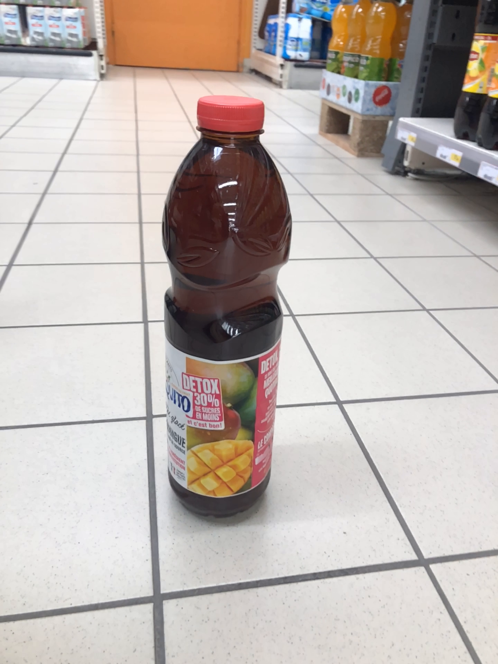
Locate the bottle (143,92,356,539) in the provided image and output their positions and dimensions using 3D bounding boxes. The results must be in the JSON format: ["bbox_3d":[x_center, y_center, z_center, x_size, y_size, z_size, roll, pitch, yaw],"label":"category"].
[{"bbox_3d":[-0.012,-0.007,0.389,0.090,0.288,0.100,-10,31,-25],"label":"bottle"}]
